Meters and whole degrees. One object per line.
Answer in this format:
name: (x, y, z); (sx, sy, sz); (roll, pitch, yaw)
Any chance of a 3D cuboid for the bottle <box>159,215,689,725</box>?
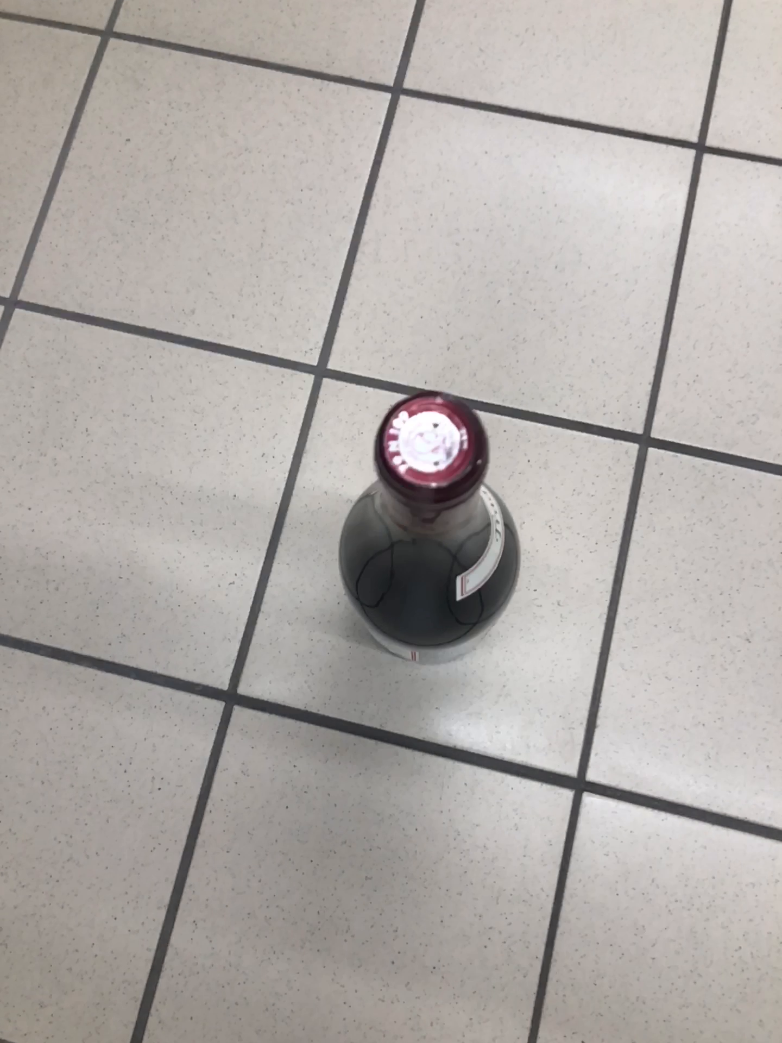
bottle: (0.012, 0.015, 0.346); (0.090, 0.290, 0.090); (0, 77, 2)
